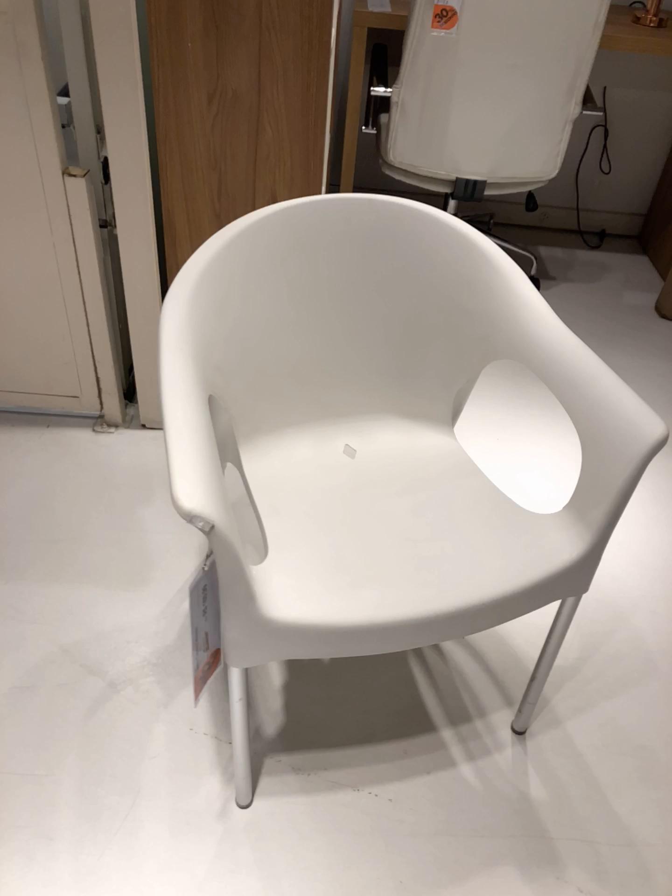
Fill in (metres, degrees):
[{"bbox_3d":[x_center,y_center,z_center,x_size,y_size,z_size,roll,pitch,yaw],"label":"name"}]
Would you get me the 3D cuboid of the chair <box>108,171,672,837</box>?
[{"bbox_3d":[0.019,0.059,1.145,0.611,0.734,0.614,-7,41,-14],"label":"chair"}]
